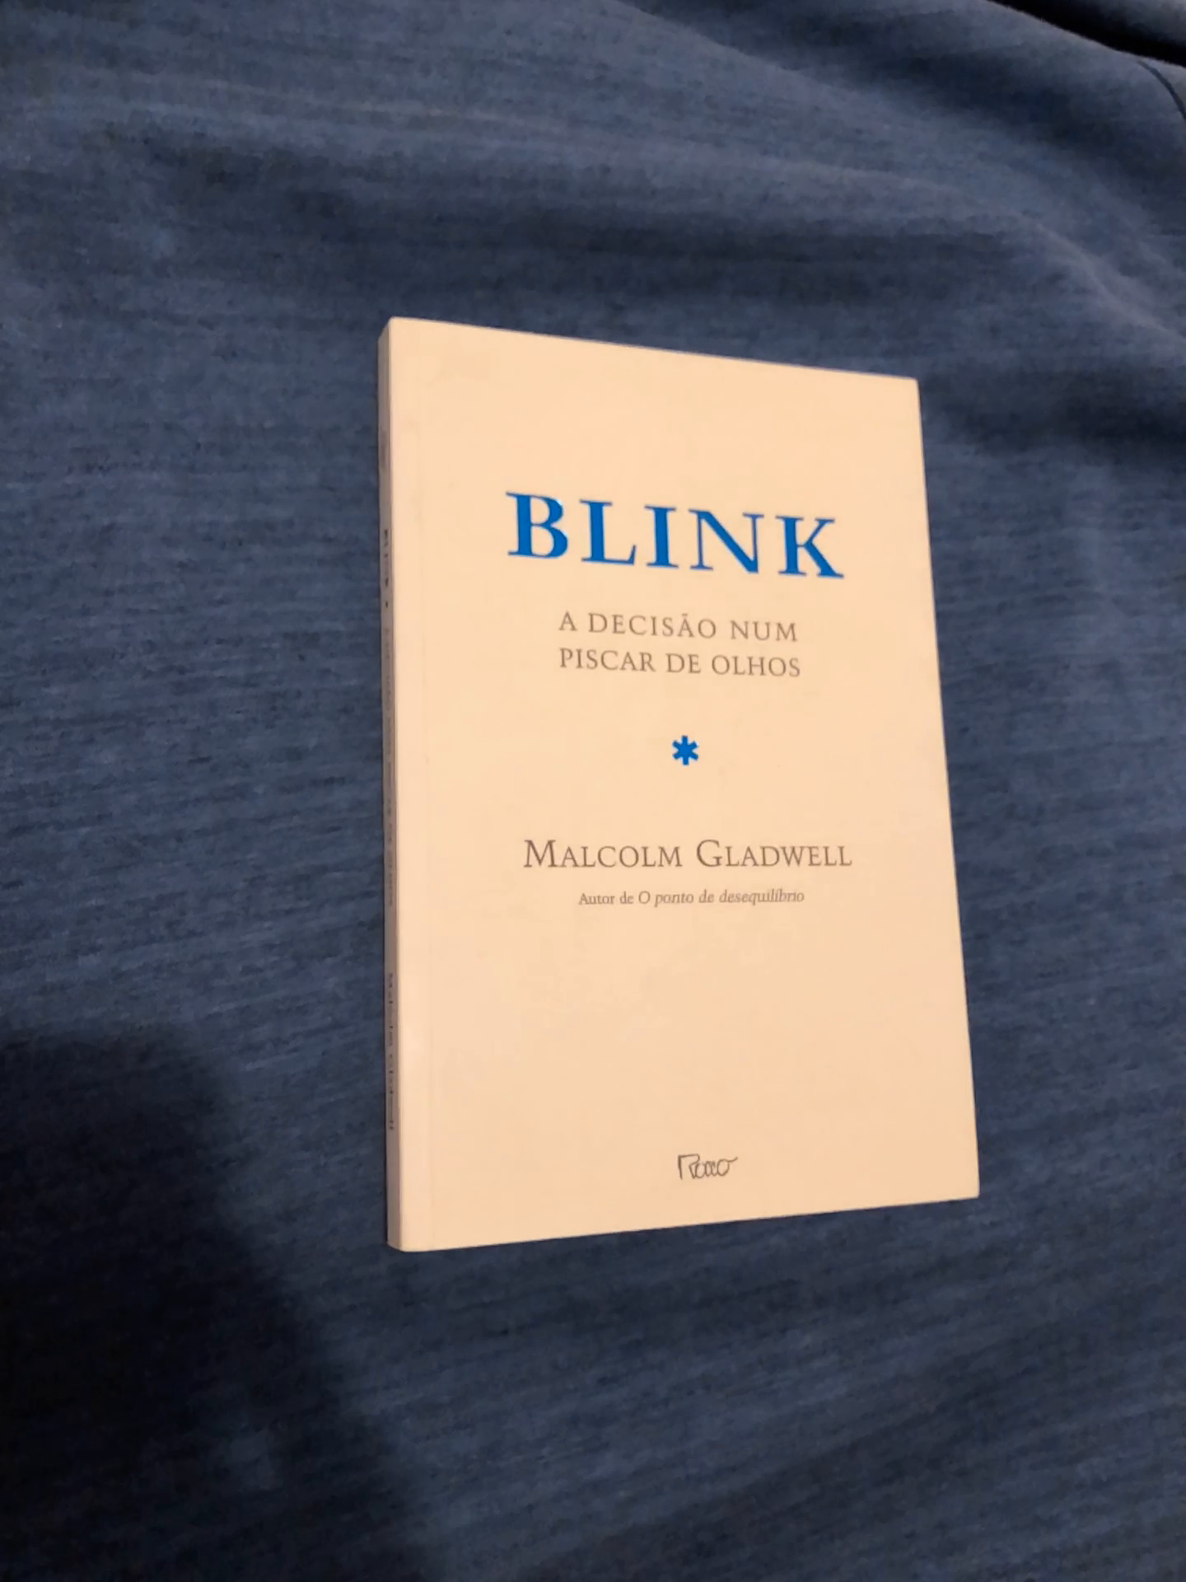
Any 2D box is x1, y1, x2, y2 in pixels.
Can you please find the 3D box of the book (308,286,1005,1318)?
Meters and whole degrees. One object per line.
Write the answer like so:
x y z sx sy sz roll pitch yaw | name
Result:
0.012 -0.003 0.313 0.150 0.030 0.220 1 77 -19 | book
